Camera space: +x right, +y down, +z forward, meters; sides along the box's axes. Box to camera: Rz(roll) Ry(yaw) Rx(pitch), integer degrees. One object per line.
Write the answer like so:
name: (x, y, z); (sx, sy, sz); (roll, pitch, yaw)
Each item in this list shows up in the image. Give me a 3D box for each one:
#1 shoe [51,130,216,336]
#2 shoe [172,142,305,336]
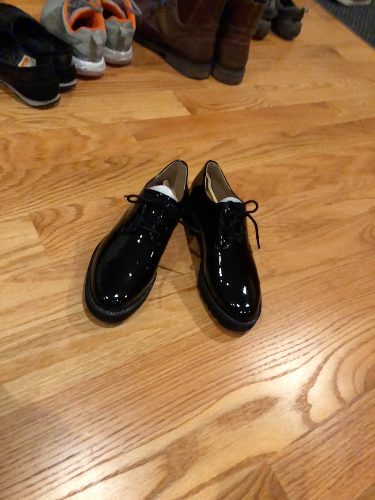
shoe: (-0.060, -0.033, 0.533); (0.095, 0.102, 0.252); (27, 48, 1)
shoe: (0.055, -0.021, 0.571); (0.095, 0.102, 0.252); (2, 52, -19)
